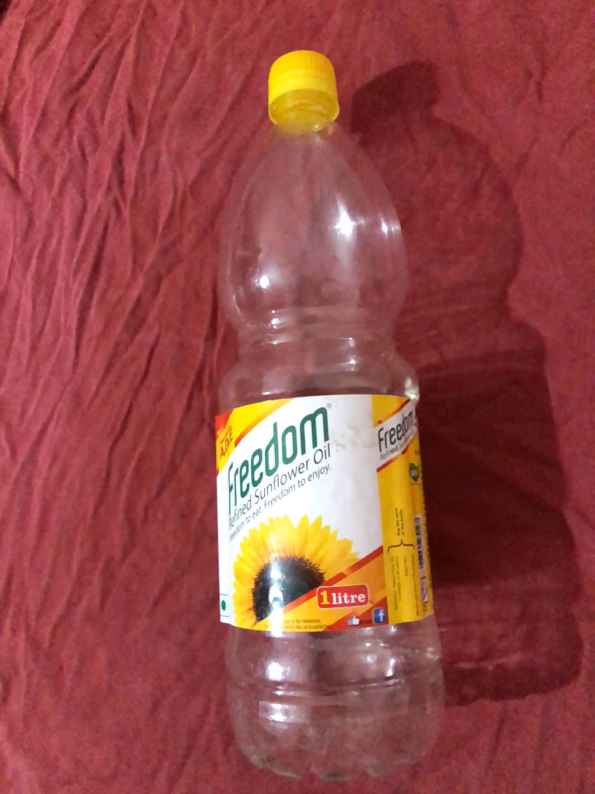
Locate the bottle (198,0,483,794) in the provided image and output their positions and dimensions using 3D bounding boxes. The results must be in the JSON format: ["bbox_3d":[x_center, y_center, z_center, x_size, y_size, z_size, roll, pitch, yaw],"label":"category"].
[{"bbox_3d":[0.016,-0.002,0.248,0.080,0.060,0.270,-5,82,14],"label":"bottle"}]
